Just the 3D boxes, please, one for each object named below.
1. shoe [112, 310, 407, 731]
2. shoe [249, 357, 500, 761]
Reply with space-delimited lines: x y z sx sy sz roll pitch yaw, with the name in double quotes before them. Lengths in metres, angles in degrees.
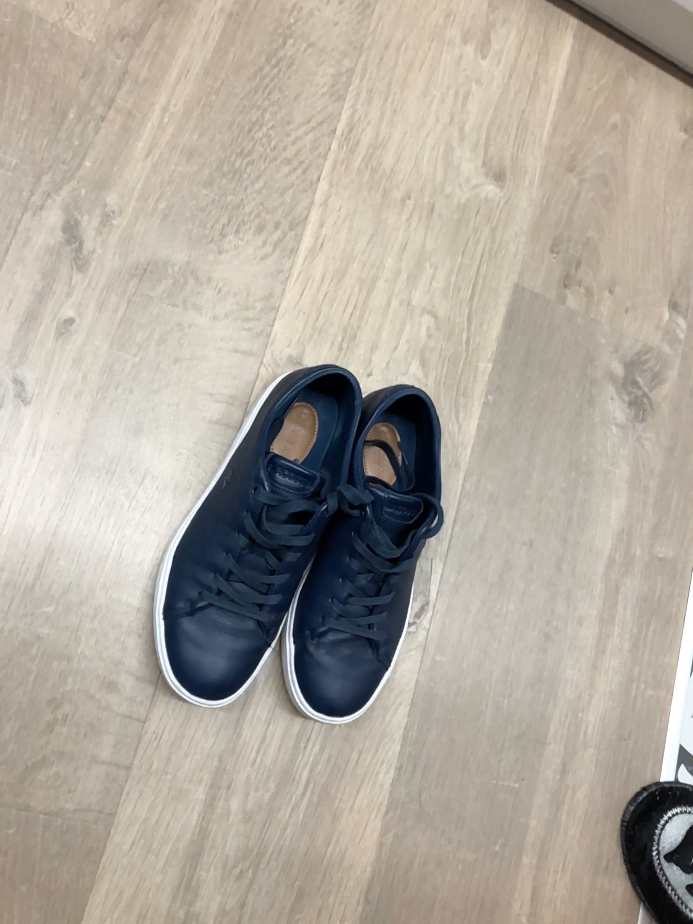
"shoe" -0.058 0.037 0.520 0.100 0.080 0.247 25 74 -16
"shoe" 0.021 0.066 0.539 0.100 0.080 0.247 19 76 -17
